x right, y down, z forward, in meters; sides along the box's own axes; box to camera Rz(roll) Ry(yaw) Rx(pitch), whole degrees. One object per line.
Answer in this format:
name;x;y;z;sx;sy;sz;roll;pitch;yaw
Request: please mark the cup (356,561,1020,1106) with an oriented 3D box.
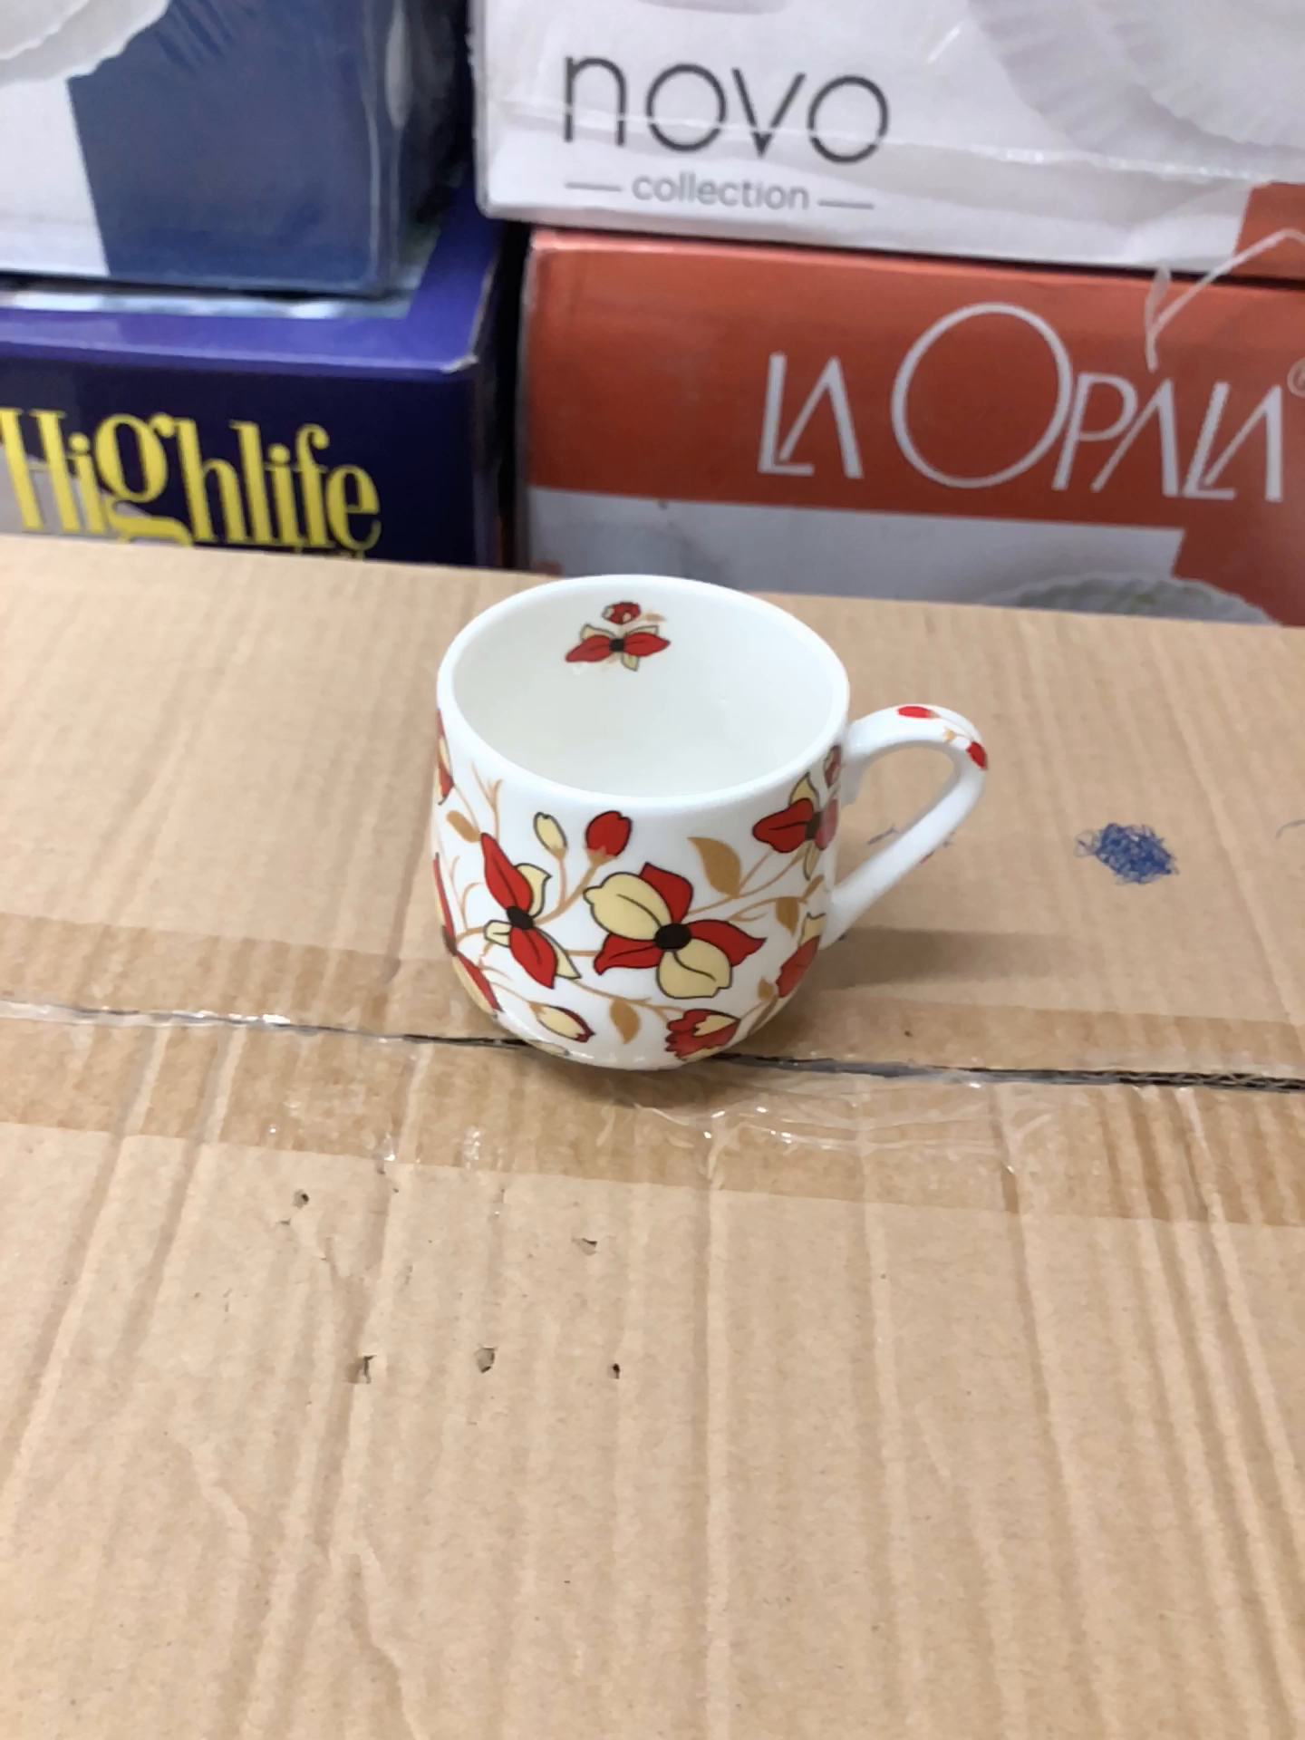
cup;0.004;-0.006;0.240;0.090;0.060;0.060;3;40;-1
